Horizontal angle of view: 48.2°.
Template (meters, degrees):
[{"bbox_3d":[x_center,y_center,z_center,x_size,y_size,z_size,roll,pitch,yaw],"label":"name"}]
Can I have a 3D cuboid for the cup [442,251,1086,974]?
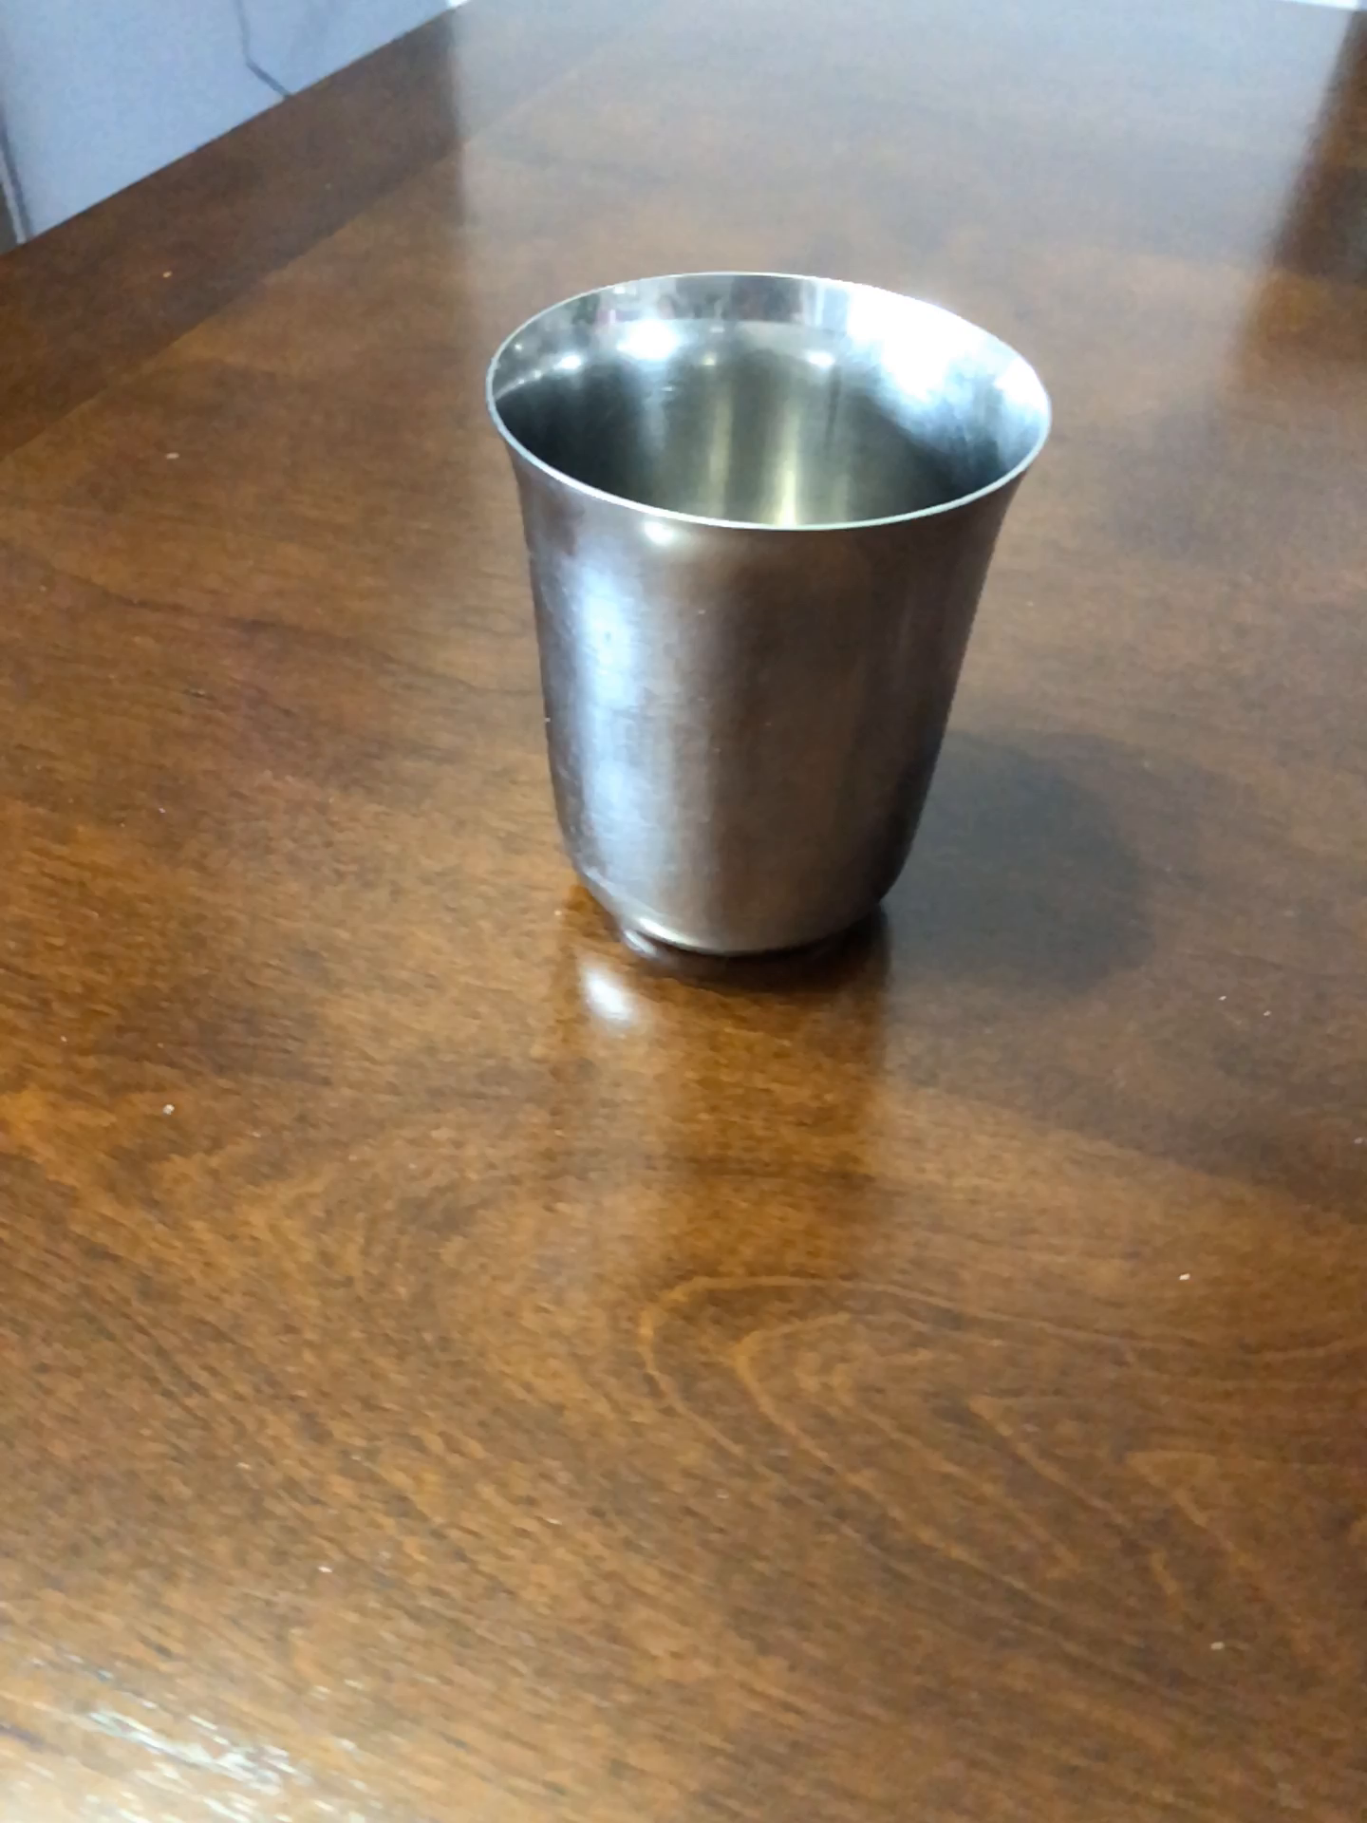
[{"bbox_3d":[0.010,-0.049,0.246,0.080,0.080,0.080,1,44,-1],"label":"cup"}]
